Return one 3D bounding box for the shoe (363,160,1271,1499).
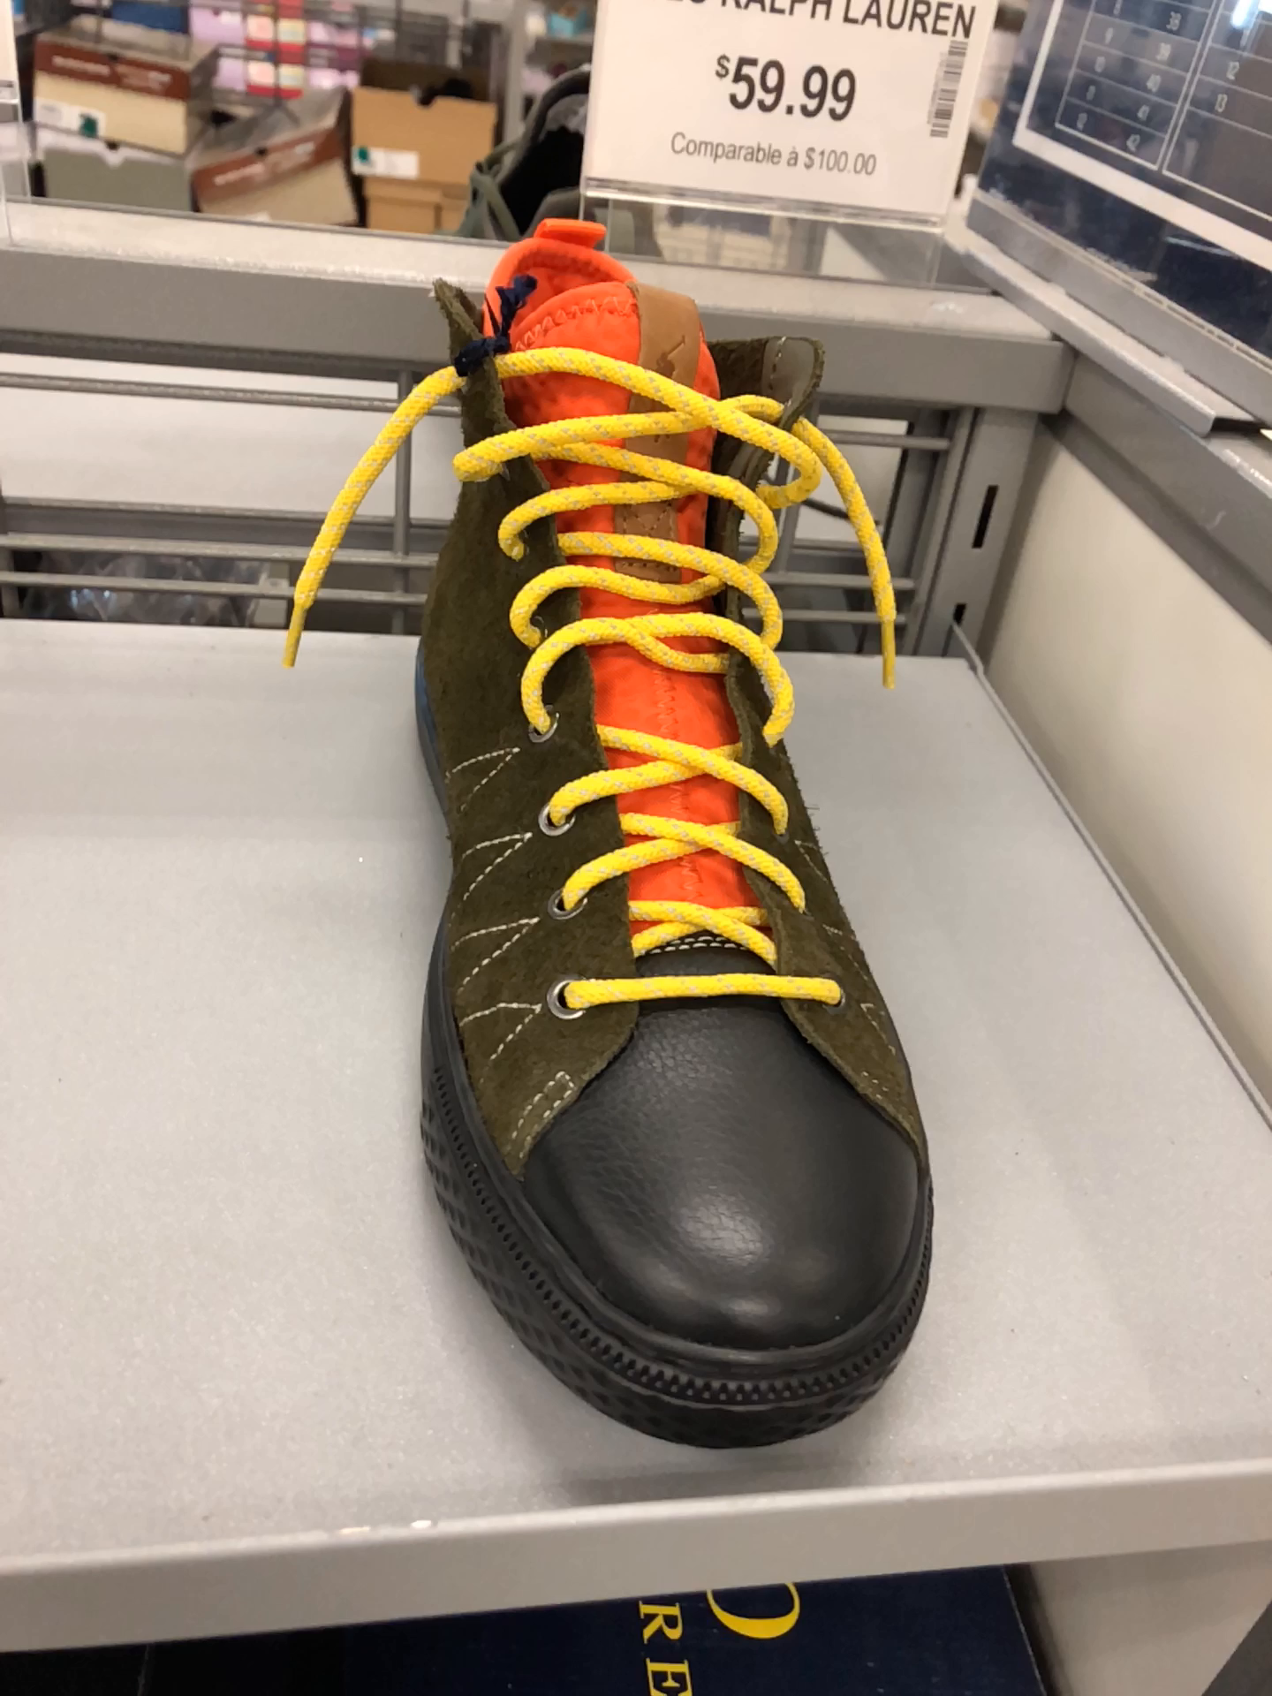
[{"bbox_3d":[0.006,-0.039,0.343,0.125,0.171,0.300,-1,35,-14],"label":"shoe"}]
